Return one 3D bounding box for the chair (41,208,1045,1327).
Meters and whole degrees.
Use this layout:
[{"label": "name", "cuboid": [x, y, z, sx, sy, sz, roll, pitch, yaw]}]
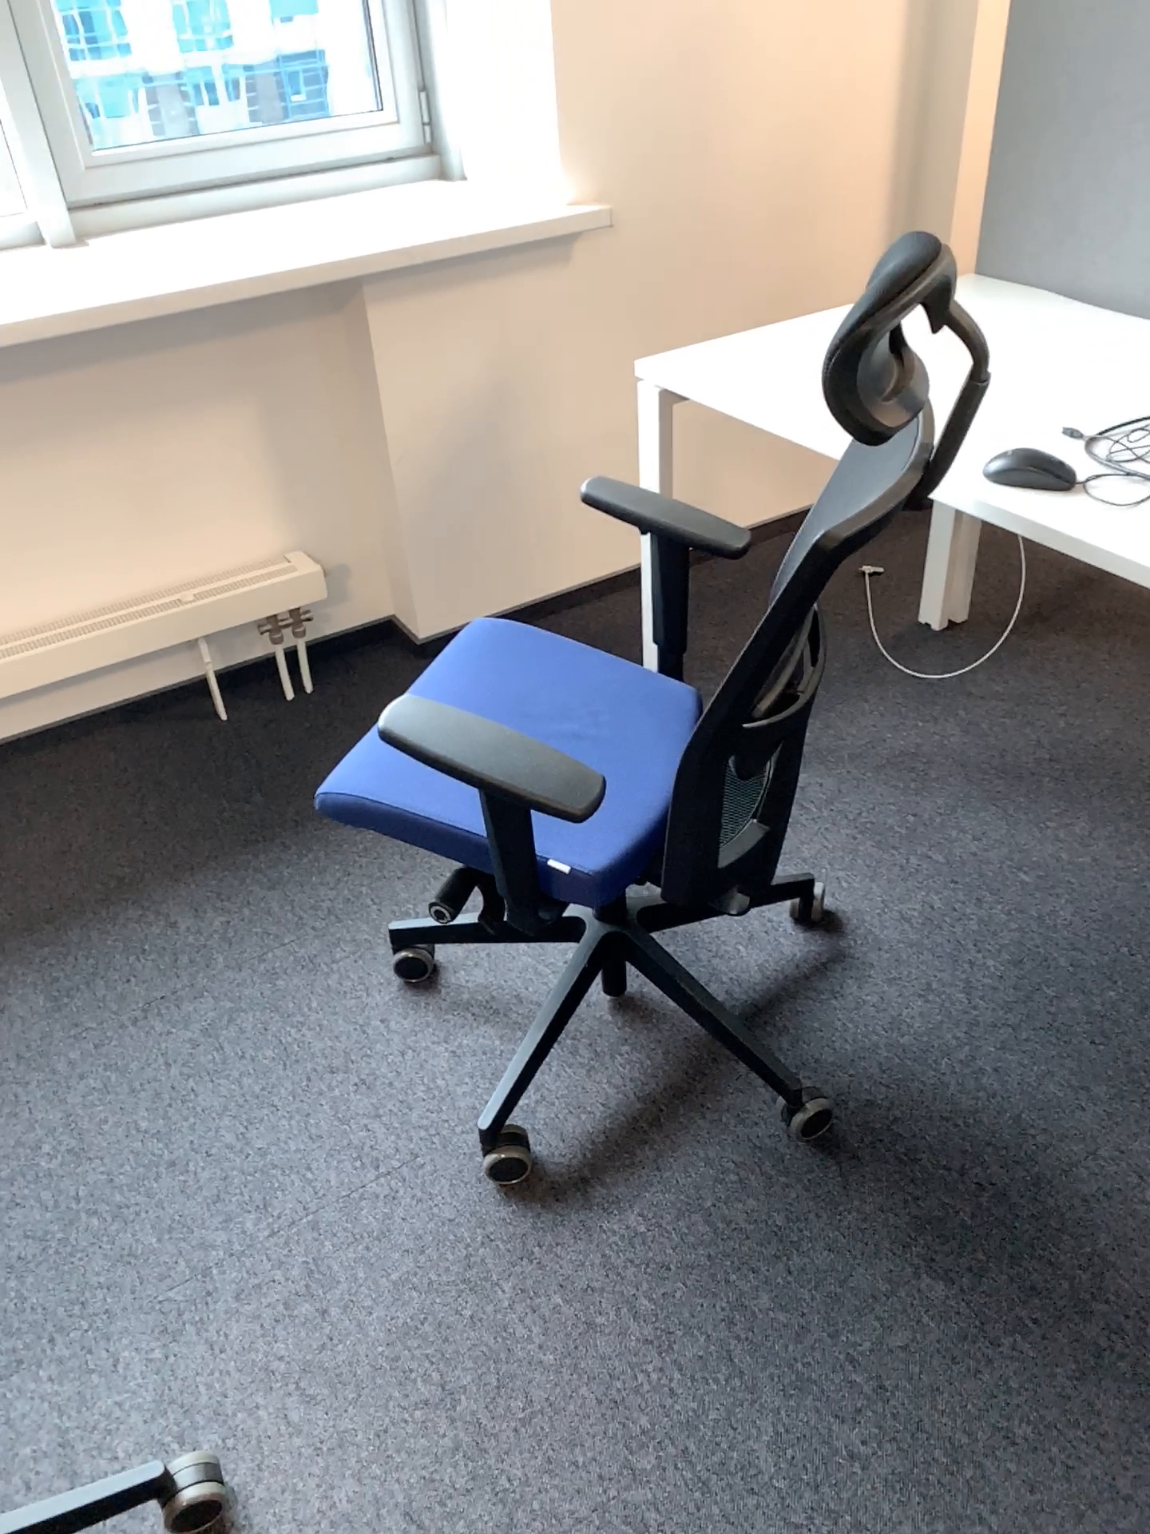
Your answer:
[{"label": "chair", "cuboid": [0.048, -0.059, 1.522, 0.791, 1.074, 0.754, 13, 38, 23]}]
